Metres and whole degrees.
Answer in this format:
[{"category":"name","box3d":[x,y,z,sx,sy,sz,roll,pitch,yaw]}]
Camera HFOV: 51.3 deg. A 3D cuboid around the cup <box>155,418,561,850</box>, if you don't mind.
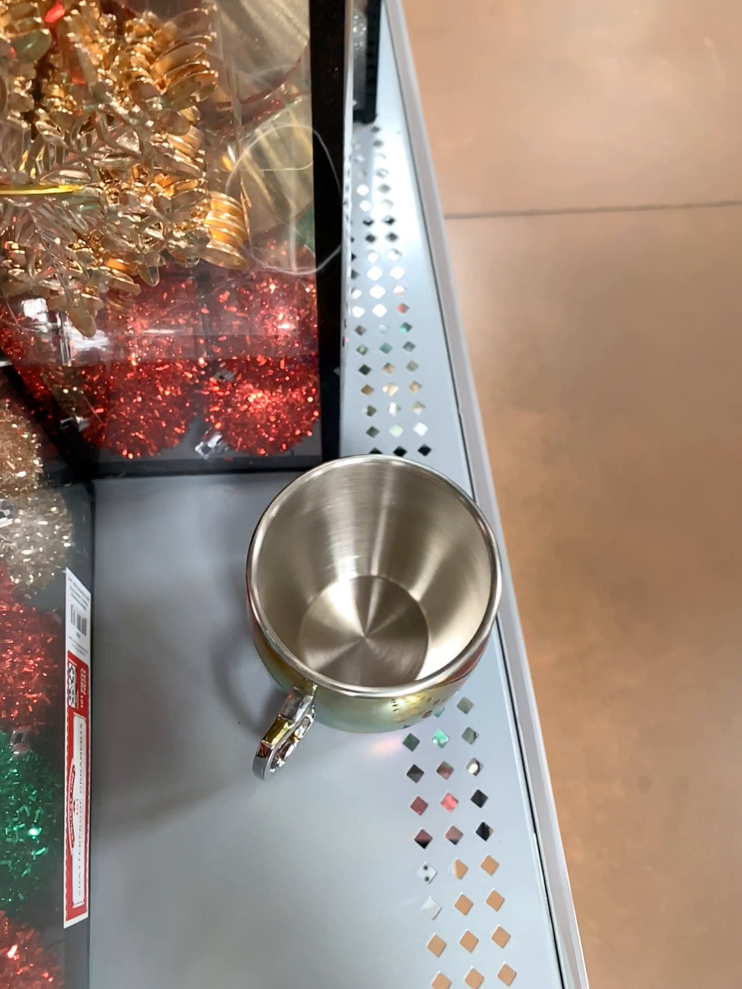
[{"category":"cup","box3d":[-0.002,0.055,0.283,0.087,0.090,0.110,25,66,8]}]
